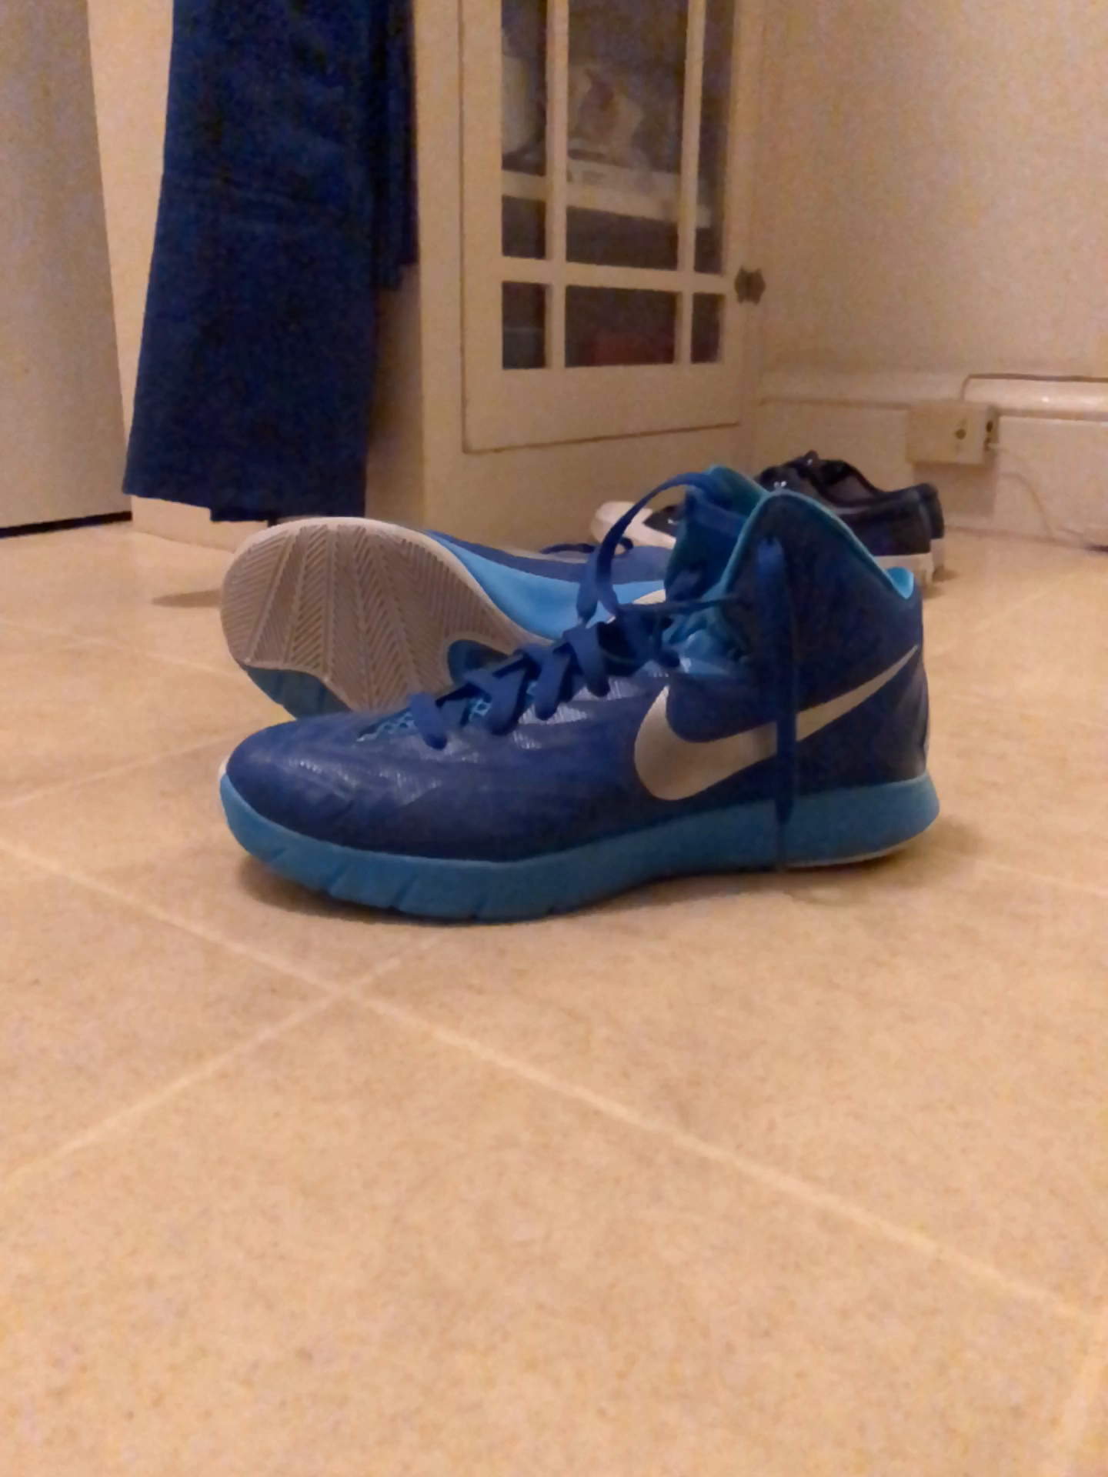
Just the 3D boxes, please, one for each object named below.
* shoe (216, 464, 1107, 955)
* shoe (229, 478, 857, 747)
[{"bbox_3d":[0.033,-0.026,0.478,0.310,0.144,0.120,-4,18,-14],"label":"shoe"},{"bbox_3d":[-0.007,-0.073,0.636,0.281,0.120,0.160,0,13,-2],"label":"shoe"}]
